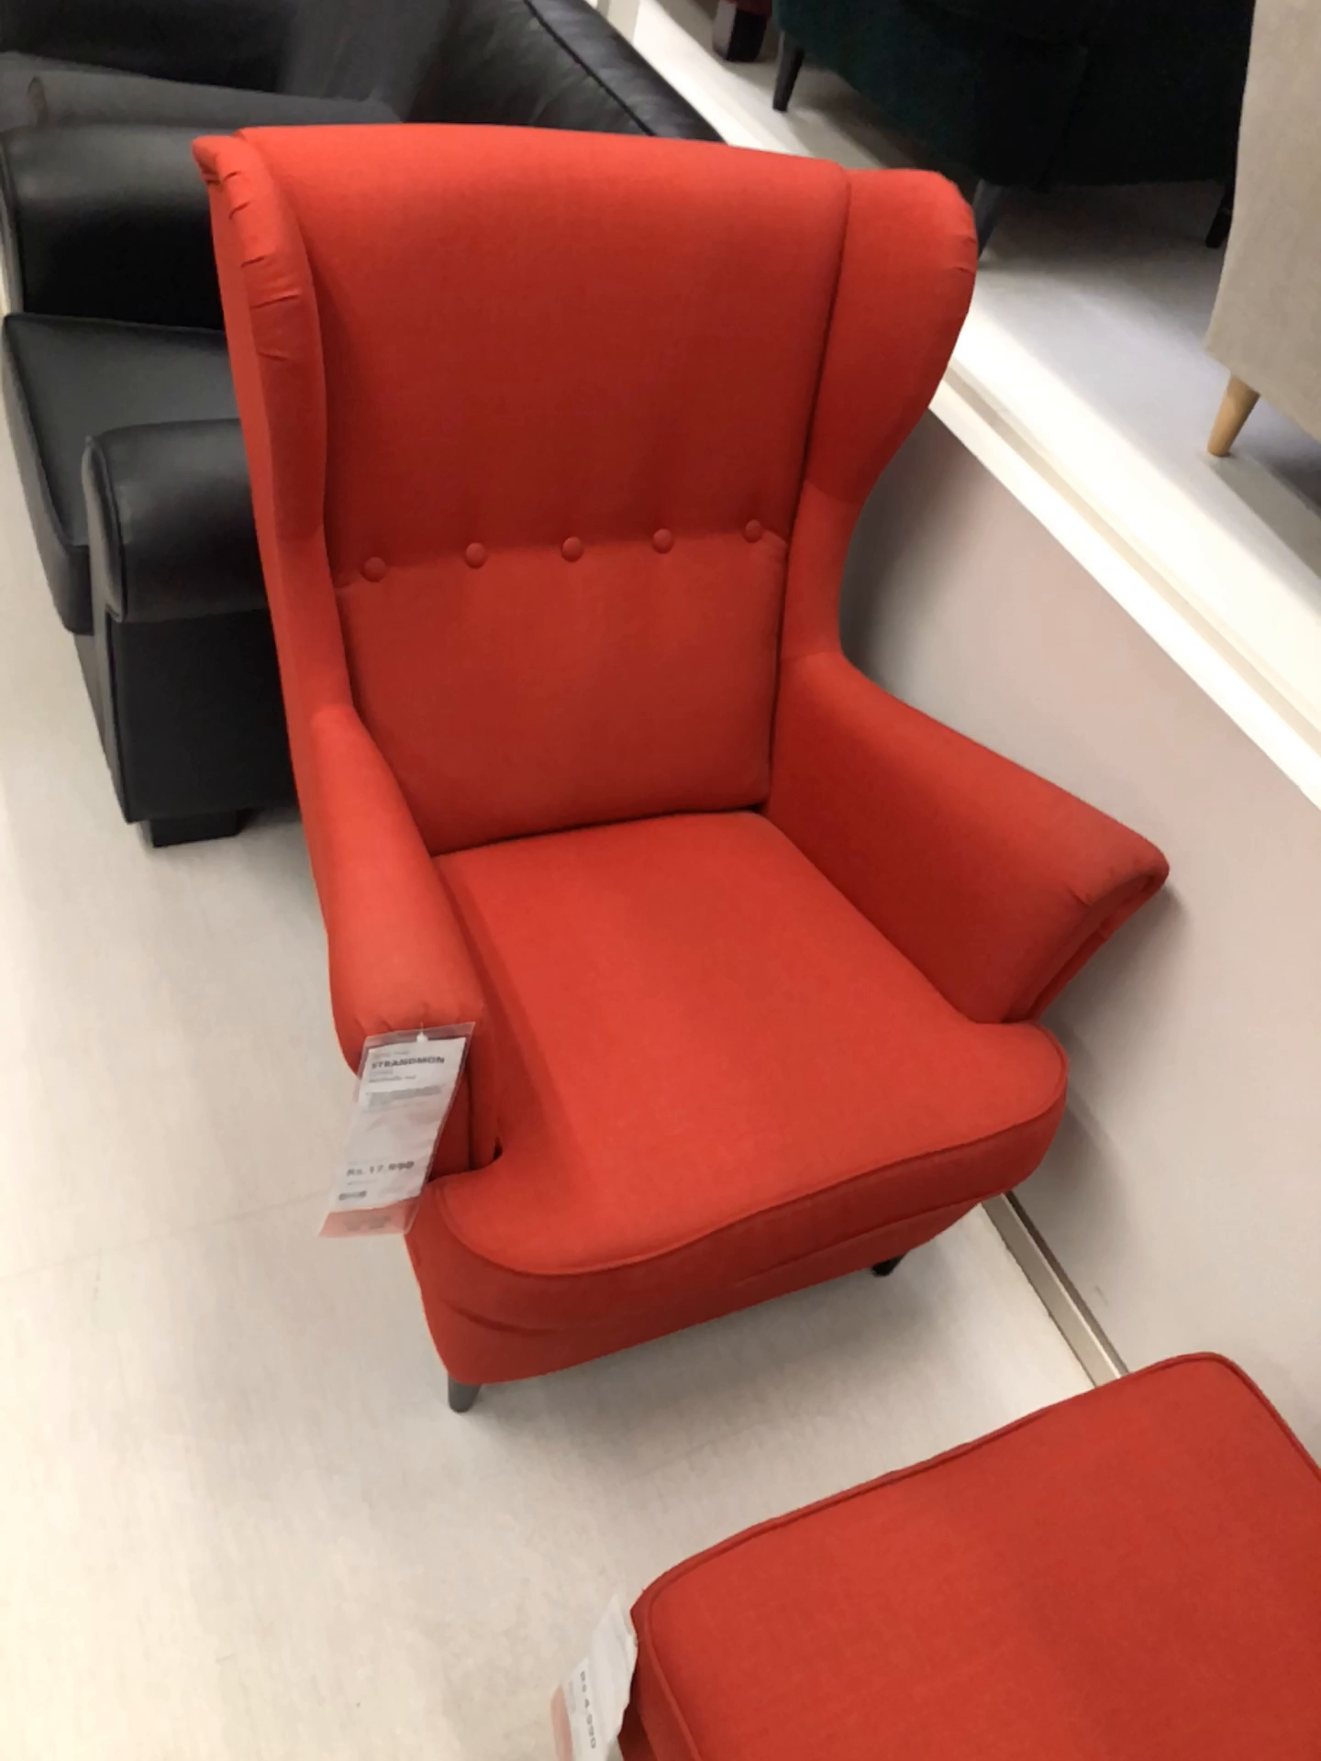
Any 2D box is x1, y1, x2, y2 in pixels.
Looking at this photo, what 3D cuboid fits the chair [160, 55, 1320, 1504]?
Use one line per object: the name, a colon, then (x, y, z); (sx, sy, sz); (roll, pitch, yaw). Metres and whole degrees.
chair: (0.063, -0.117, 1.473); (0.901, 0.973, 0.844); (-11, 50, -25)
